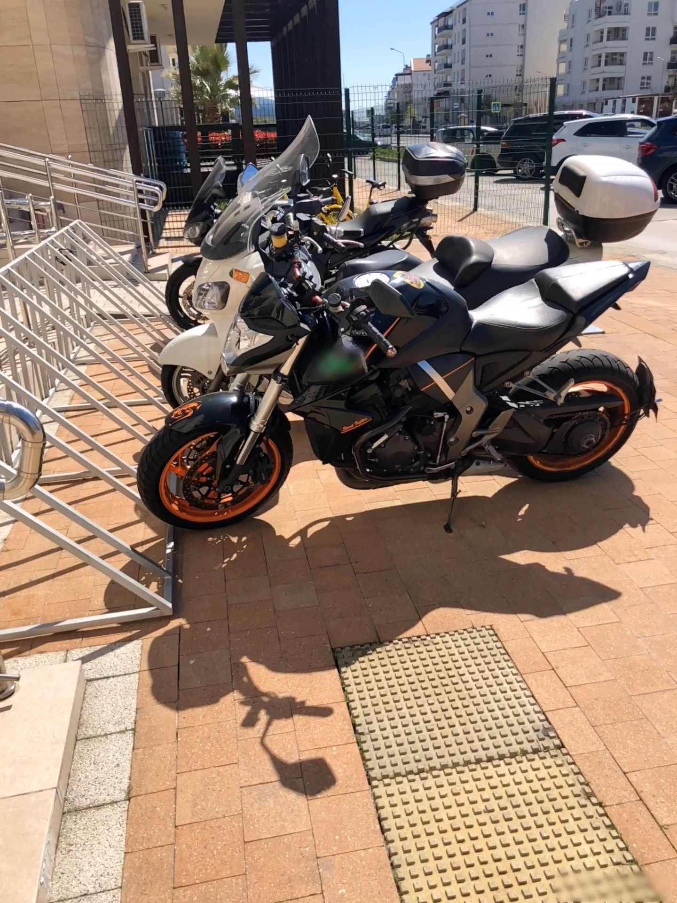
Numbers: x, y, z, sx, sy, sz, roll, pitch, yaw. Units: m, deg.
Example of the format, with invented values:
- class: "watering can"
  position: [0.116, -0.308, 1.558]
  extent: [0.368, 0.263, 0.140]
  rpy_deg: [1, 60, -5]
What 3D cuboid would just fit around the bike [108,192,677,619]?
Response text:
- class: "bike"
  position: [0.269, -0.258, 2.685]
  extent: [1.950, 1.170, 0.799]
  rpy_deg: [-7, 23, -11]
